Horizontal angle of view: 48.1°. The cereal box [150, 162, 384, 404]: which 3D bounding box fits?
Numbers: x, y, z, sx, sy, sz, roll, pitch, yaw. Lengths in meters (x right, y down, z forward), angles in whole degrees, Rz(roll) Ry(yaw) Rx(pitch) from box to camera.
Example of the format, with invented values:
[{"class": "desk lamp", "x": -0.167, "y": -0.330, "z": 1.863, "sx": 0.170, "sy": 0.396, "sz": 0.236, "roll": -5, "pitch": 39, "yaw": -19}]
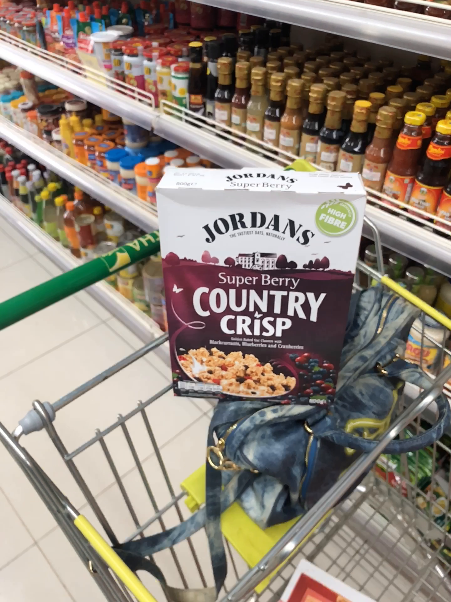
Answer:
[{"class": "cereal box", "x": 0.031, "y": -0.007, "z": 0.475, "sx": 0.180, "sy": 0.229, "sz": 0.050, "roll": 2, "pitch": 34, "yaw": 2}]
